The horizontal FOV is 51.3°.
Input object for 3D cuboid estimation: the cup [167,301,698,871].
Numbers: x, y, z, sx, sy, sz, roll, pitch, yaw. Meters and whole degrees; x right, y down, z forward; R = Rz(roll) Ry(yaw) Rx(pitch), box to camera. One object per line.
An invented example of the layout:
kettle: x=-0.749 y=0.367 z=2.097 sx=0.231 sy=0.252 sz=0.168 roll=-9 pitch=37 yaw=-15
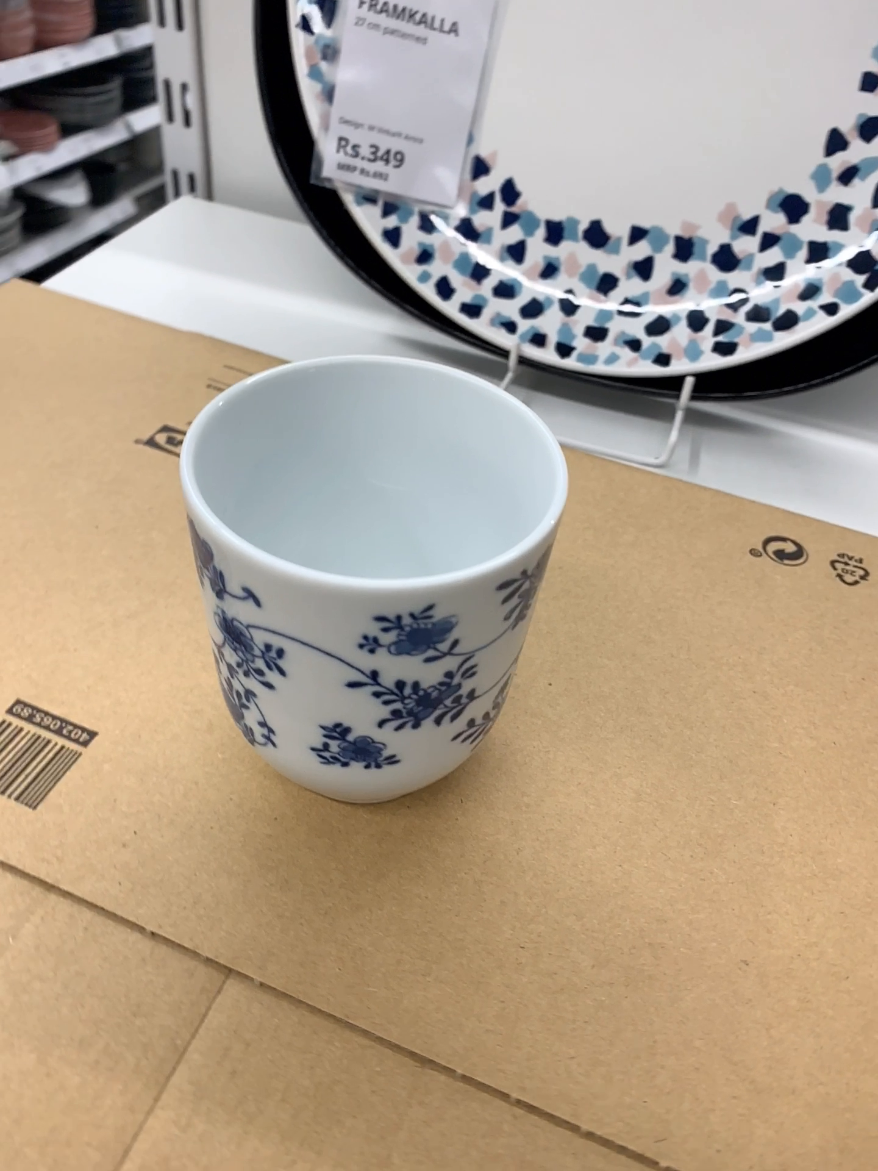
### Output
cup: x=-0.011 y=-0.003 z=0.190 sx=0.080 sy=0.080 sz=0.080 roll=5 pitch=41 yaw=-4
